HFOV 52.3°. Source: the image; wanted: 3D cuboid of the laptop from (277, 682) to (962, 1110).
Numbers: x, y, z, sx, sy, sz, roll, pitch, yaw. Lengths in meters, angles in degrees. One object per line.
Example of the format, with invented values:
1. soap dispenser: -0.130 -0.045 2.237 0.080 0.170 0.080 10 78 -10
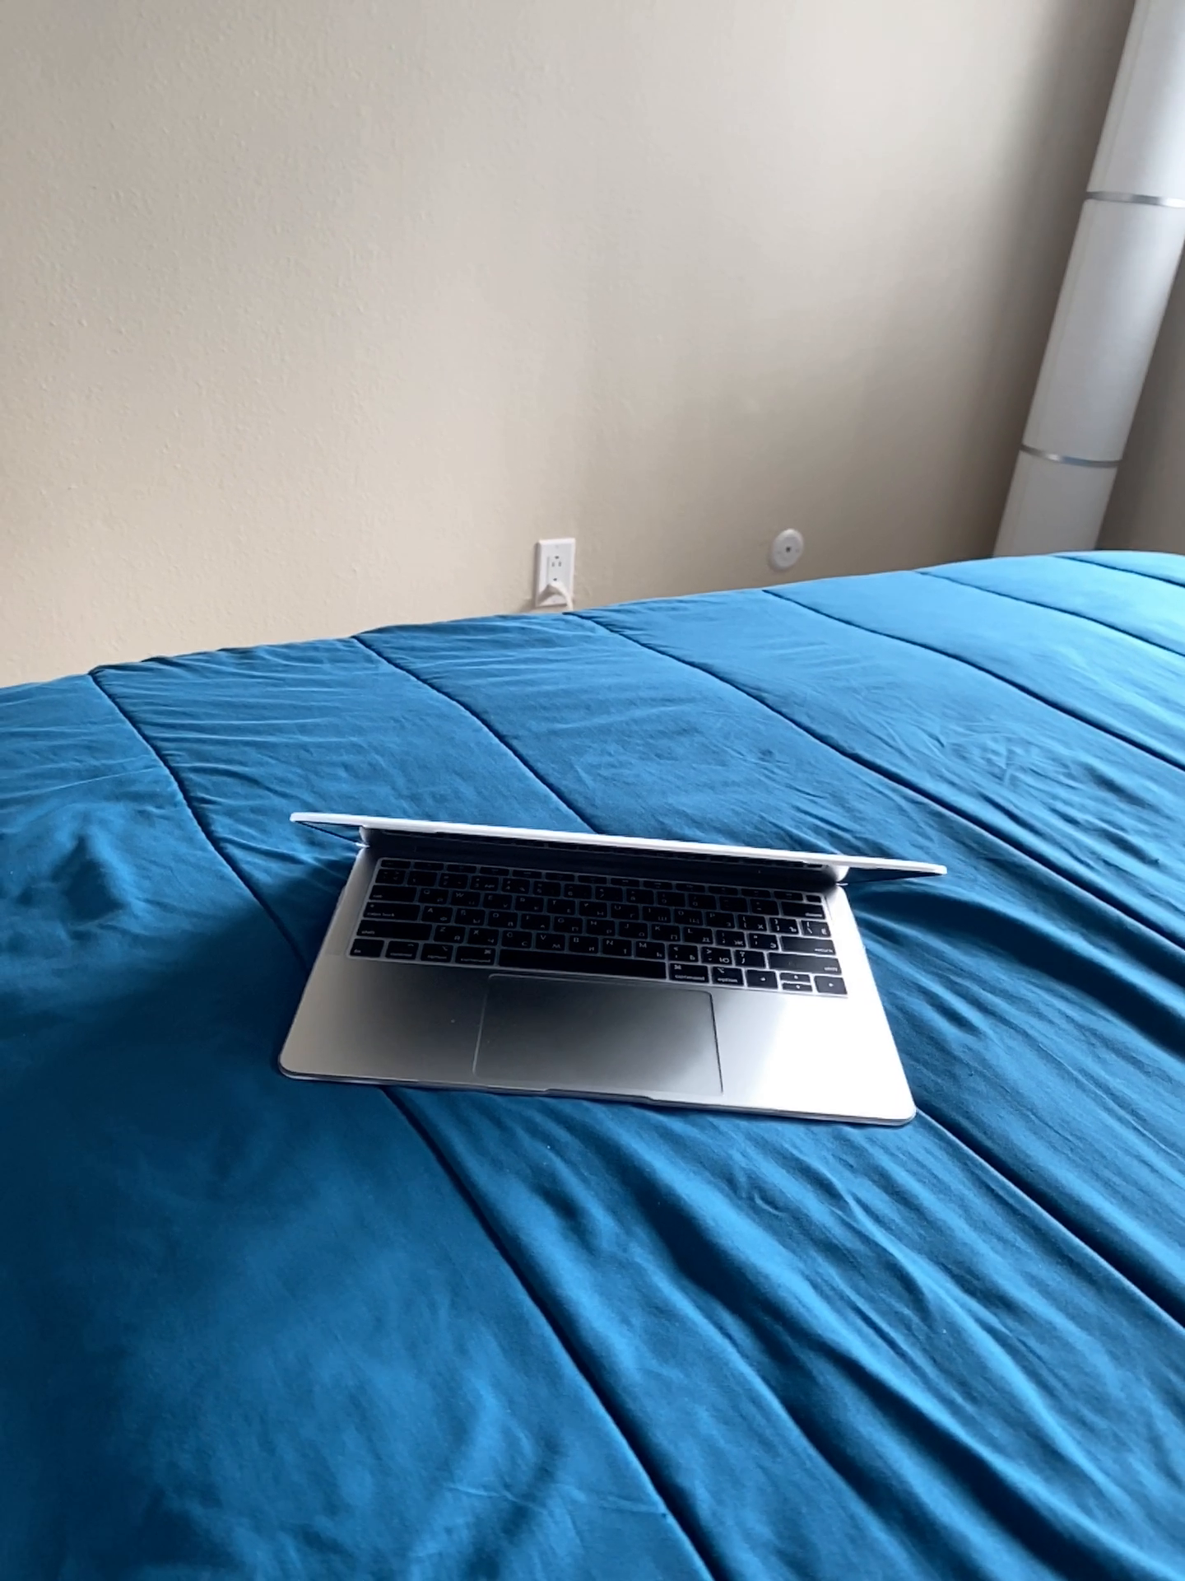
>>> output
1. laptop: 0.008 0.045 0.665 0.310 0.106 0.220 4 28 0
